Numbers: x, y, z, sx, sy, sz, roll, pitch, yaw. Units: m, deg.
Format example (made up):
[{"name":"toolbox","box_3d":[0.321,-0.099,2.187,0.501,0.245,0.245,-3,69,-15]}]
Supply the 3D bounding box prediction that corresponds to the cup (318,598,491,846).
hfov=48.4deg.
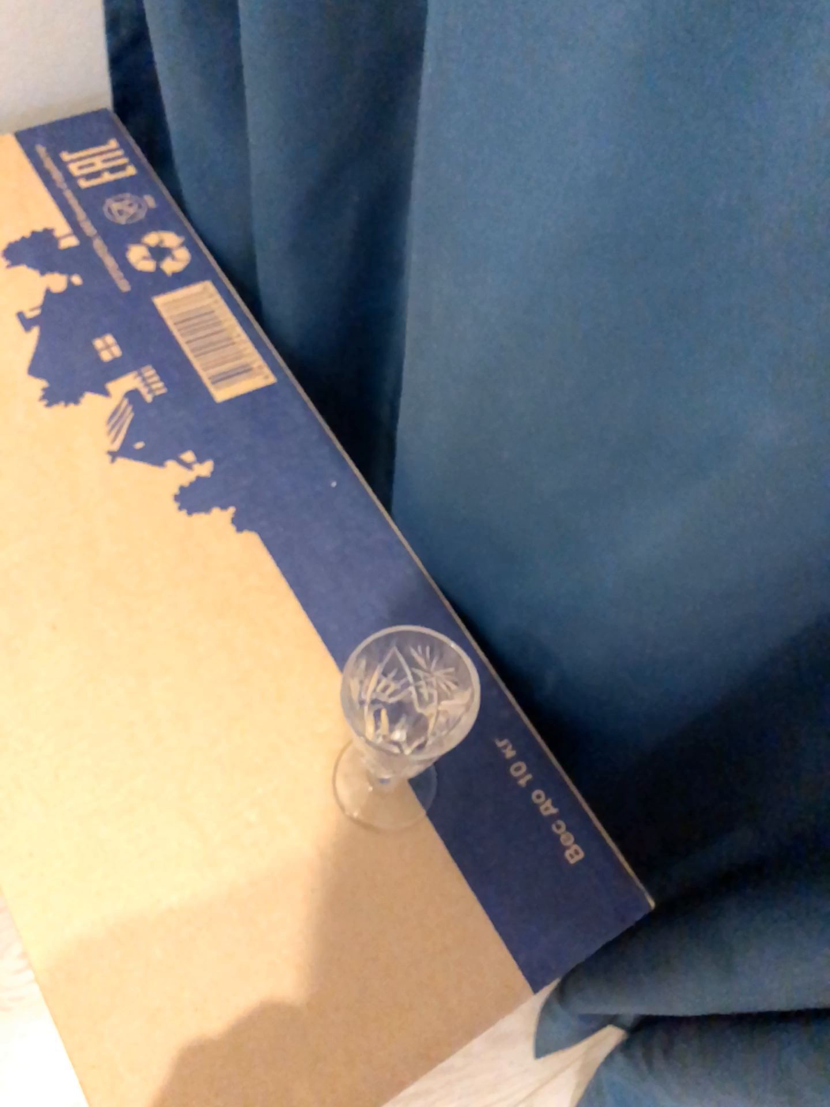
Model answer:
[{"name":"cup","box_3d":[-0.008,0.069,0.351,0.050,0.119,0.054,2,61,-3]}]
